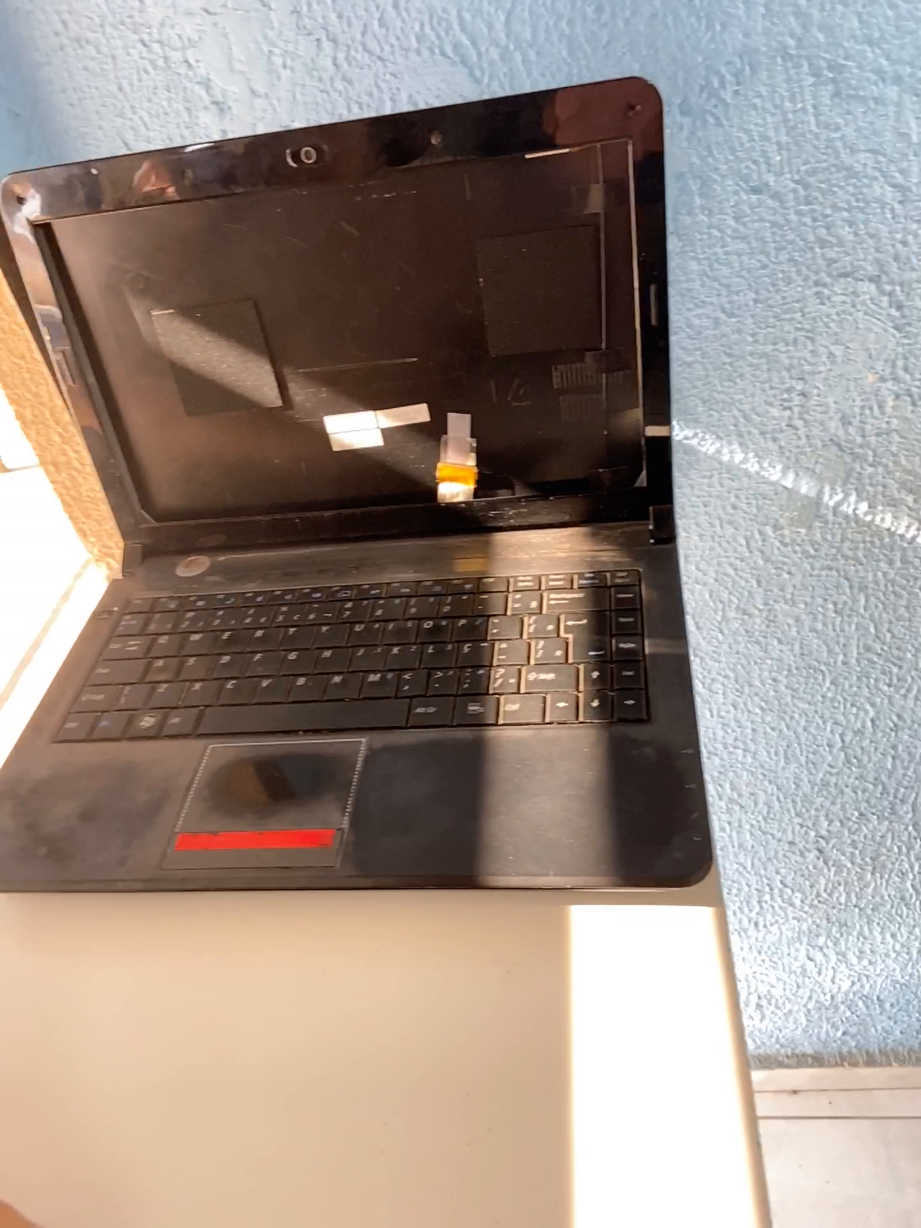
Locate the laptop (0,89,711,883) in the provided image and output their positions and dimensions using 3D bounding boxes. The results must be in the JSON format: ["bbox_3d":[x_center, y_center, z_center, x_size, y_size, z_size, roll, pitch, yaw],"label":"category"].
[{"bbox_3d":[-0.074,-0.063,0.438,0.334,0.216,0.277,-3,41,10],"label":"laptop"}]
